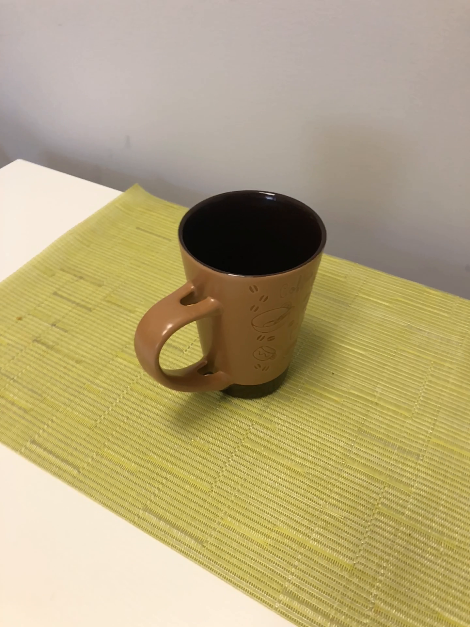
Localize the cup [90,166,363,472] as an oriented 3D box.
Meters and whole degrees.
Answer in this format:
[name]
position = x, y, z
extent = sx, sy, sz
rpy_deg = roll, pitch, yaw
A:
[cup]
position = -0.002, -0.001, 0.329
extent = 0.090, 0.119, 0.126
rpy_deg = 31, 51, 28
